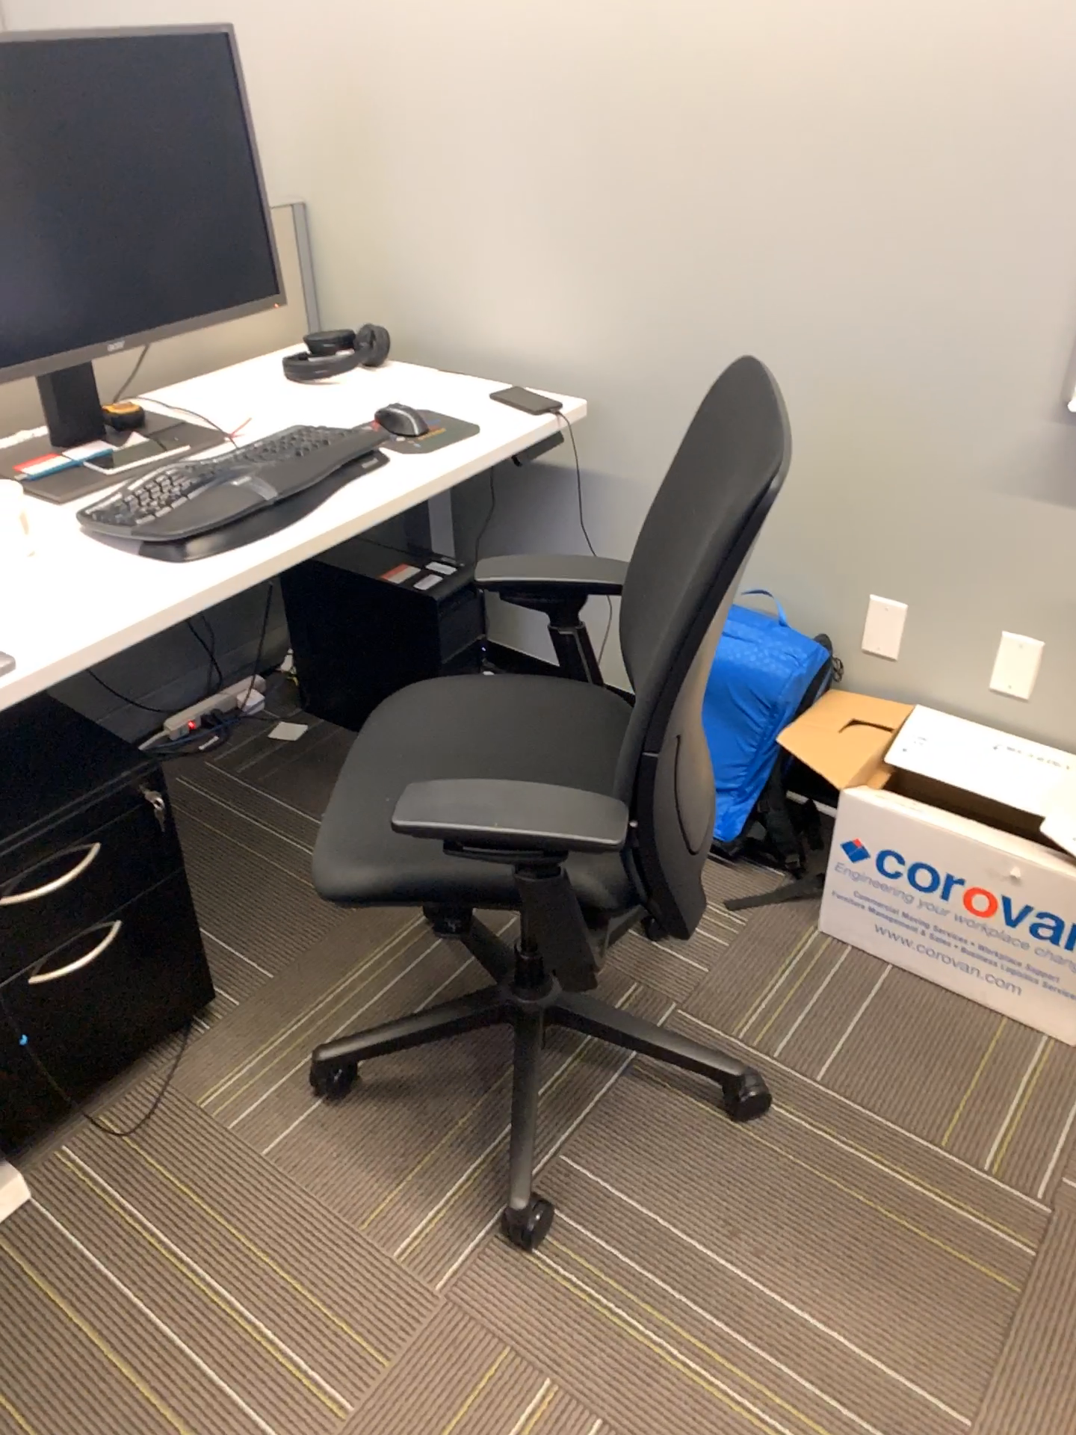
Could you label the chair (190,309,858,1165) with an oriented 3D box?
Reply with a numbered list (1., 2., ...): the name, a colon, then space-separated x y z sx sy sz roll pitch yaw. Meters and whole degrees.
1. chair: -0.006 -0.008 1.604 0.610 0.945 0.834 0 33 1
